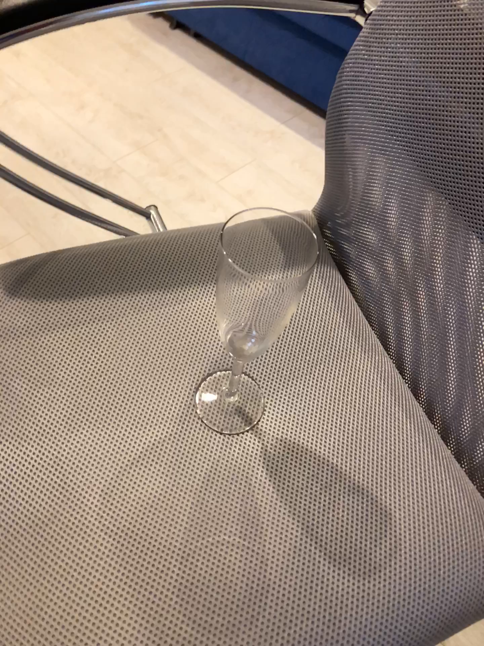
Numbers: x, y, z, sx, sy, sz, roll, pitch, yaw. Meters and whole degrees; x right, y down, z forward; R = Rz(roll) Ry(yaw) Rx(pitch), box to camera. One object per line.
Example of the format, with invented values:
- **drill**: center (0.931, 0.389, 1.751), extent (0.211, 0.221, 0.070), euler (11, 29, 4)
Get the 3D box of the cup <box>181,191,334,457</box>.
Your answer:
- **cup**: center (-0.003, 0.016, 0.405), extent (0.074, 0.229, 0.075), euler (3, 54, -5)
